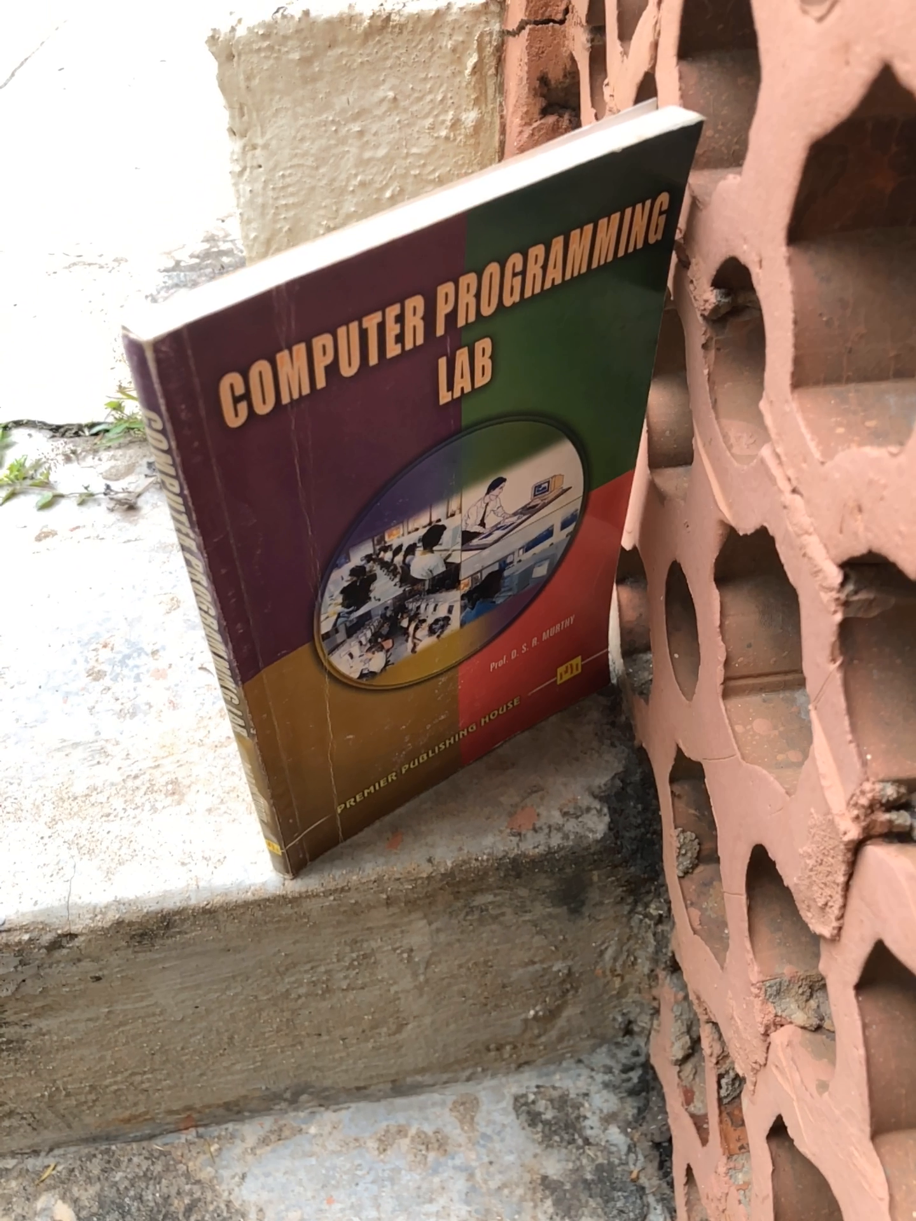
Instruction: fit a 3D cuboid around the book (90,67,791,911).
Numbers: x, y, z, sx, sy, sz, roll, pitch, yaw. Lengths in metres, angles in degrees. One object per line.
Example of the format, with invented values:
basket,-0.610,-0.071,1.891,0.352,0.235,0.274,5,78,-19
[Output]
book,0.003,-0.016,0.322,0.180,0.249,0.020,-30,58,-24
